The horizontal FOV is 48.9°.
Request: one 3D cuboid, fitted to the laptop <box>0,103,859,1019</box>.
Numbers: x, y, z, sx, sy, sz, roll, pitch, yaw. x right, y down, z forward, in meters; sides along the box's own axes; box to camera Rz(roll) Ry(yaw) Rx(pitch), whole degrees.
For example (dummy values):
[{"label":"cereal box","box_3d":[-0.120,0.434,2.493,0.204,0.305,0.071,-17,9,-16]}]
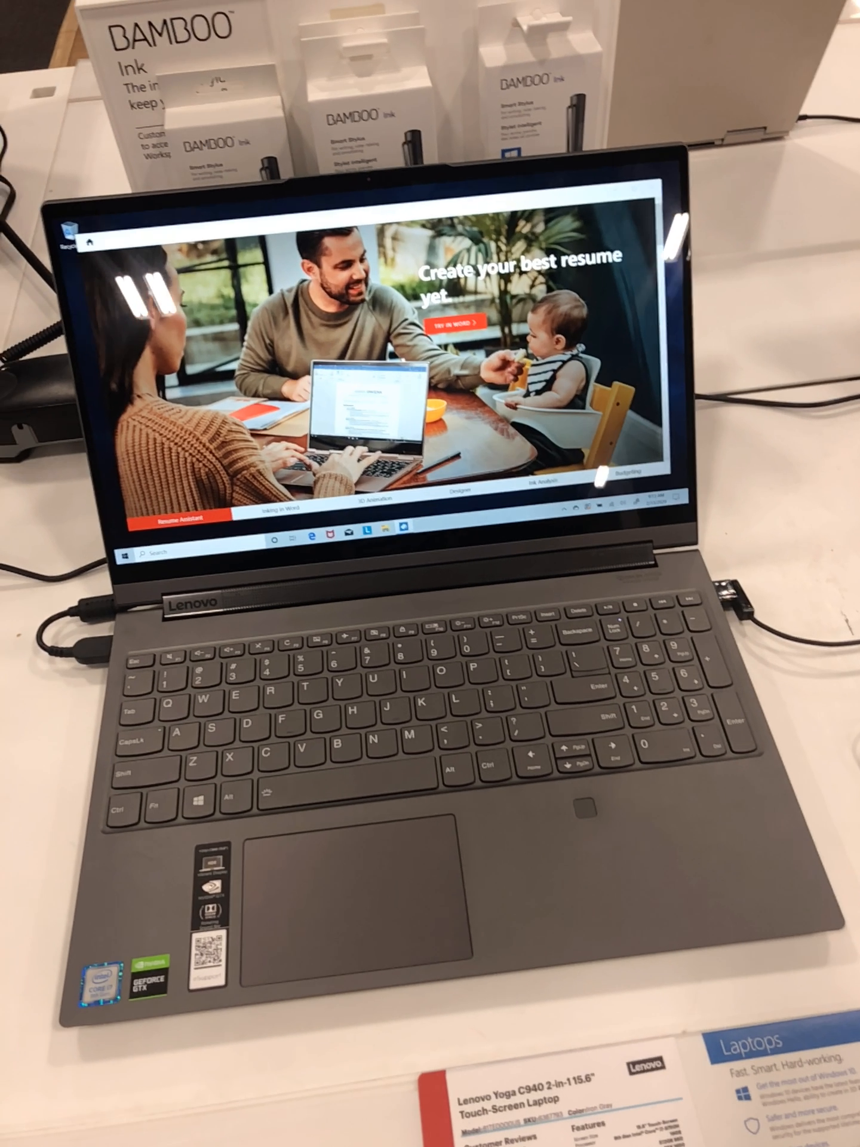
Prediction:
[{"label":"laptop","box_3d":[-0.019,-0.027,0.470,0.336,0.169,0.375,-6,56,-3]}]
